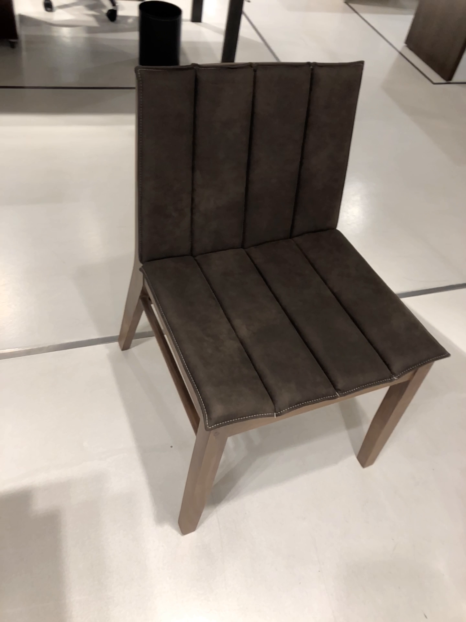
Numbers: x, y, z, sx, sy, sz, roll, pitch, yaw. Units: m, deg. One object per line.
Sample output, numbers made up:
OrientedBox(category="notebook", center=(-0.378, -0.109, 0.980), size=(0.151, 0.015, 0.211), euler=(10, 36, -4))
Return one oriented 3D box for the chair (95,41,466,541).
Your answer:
OrientedBox(category="chair", center=(0.077, -0.021, 1.055), size=(0.541, 0.775, 0.573), euler=(-12, 53, -20))
